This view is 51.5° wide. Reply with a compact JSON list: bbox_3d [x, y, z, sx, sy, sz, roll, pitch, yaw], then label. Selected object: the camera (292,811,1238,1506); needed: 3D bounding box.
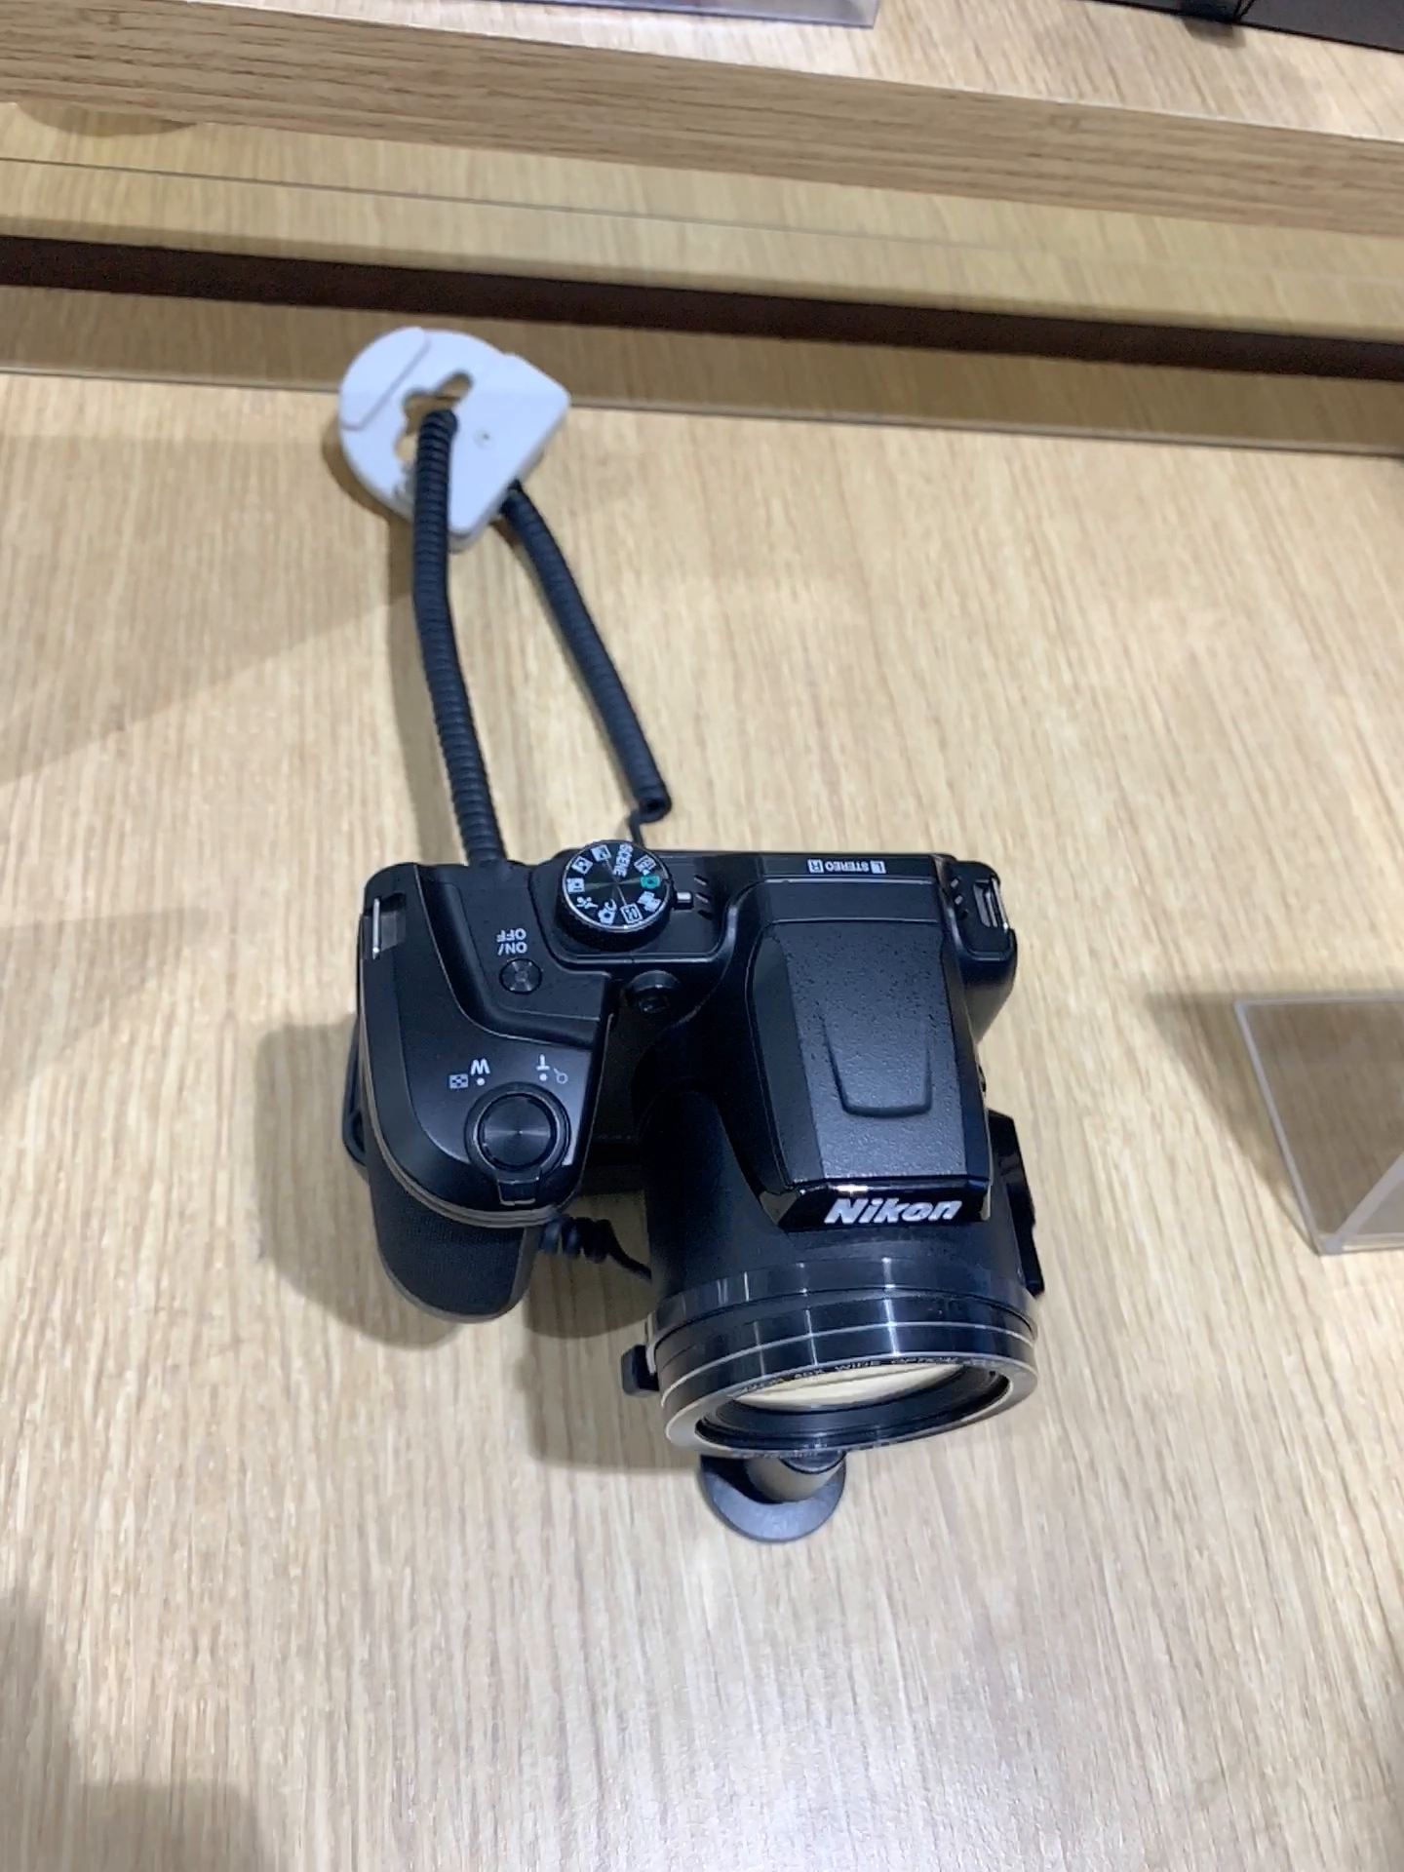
[{"bbox_3d":[0.001,0.034,0.228,0.120,0.070,0.080,-2,59,-12],"label":"camera"}]
